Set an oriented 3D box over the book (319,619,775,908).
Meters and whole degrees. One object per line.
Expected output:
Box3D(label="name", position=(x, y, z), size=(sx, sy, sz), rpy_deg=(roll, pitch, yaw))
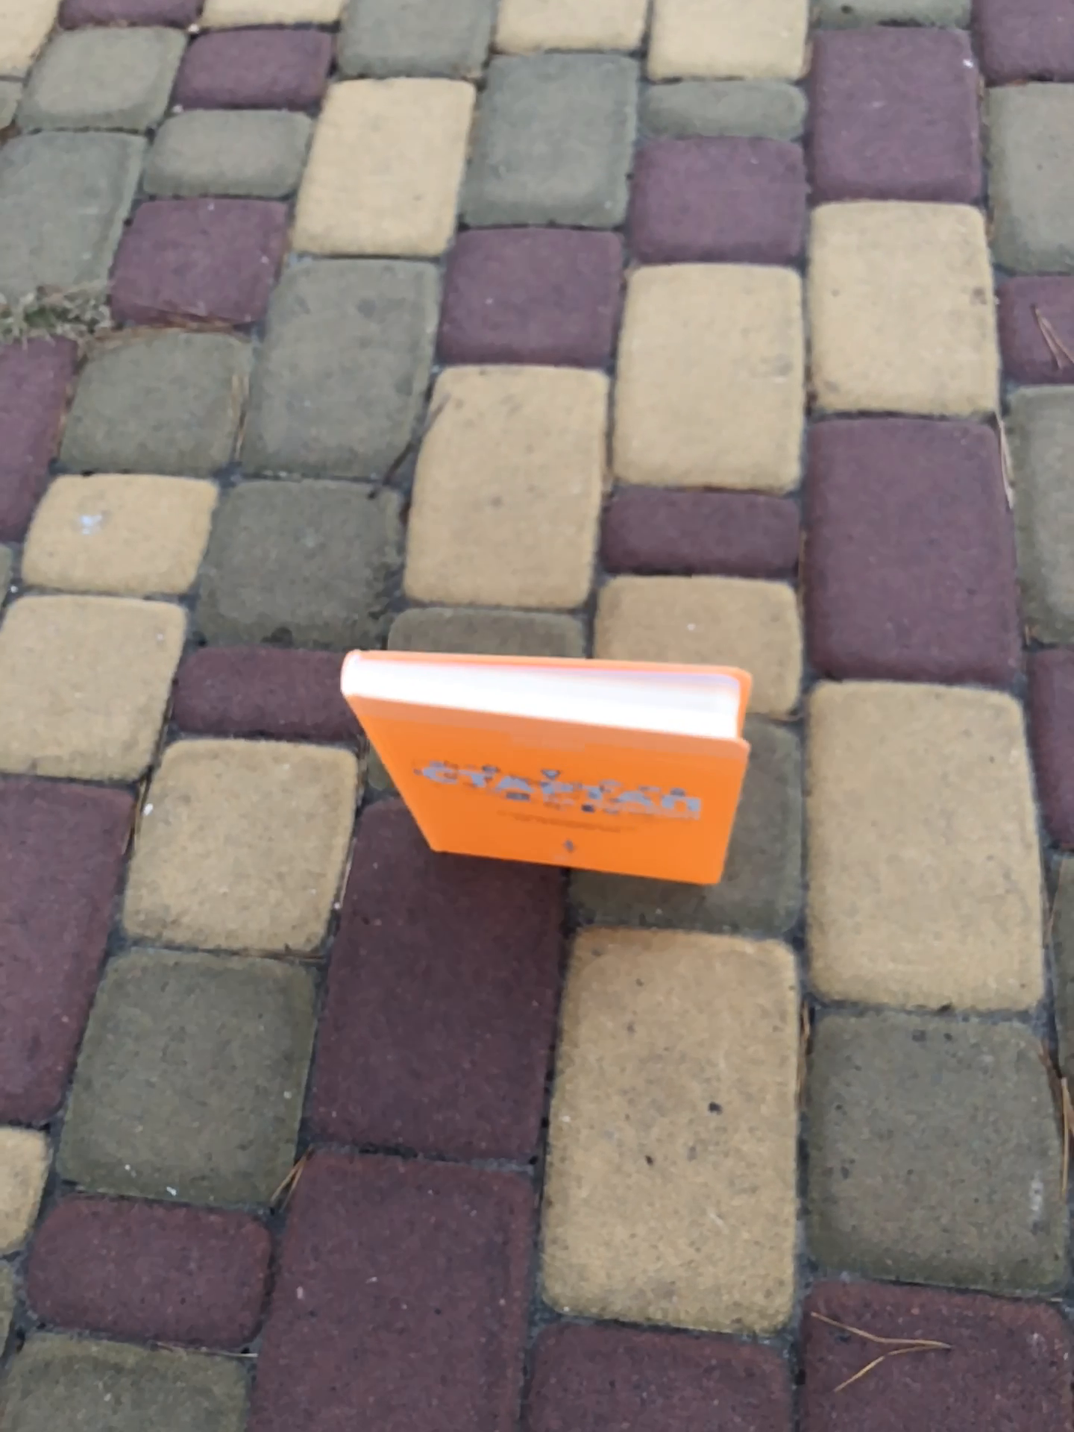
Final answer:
Box3D(label="book", position=(0.012, 0.030, 0.528), size=(0.164, 0.201, 0.040), rpy_deg=(6, 67, 8))
